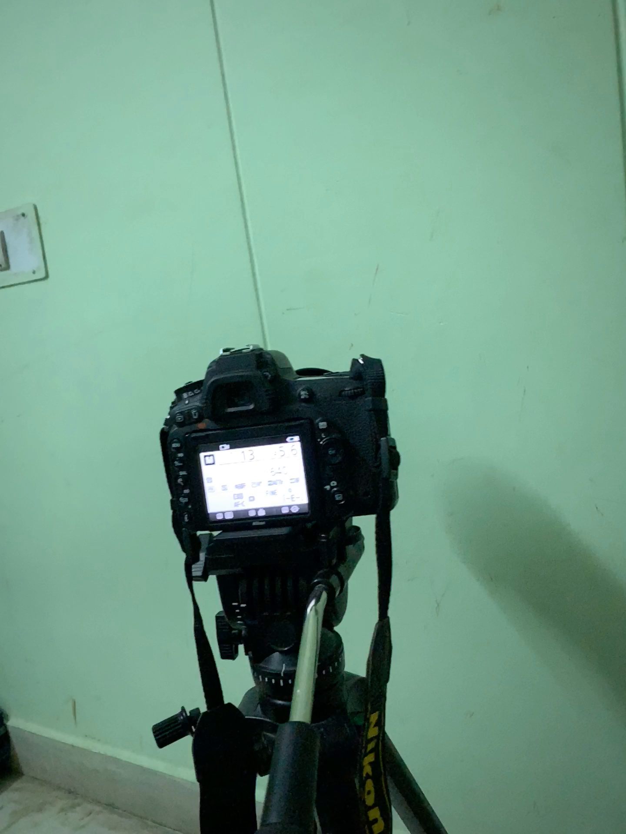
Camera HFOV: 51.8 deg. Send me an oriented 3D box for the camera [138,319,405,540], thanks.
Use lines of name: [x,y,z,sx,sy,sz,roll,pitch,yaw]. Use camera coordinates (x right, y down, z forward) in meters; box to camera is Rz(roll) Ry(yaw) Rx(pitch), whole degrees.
camera: [-0.014,-0.002,0.476,0.140,0.117,0.182,-7,8,12]
